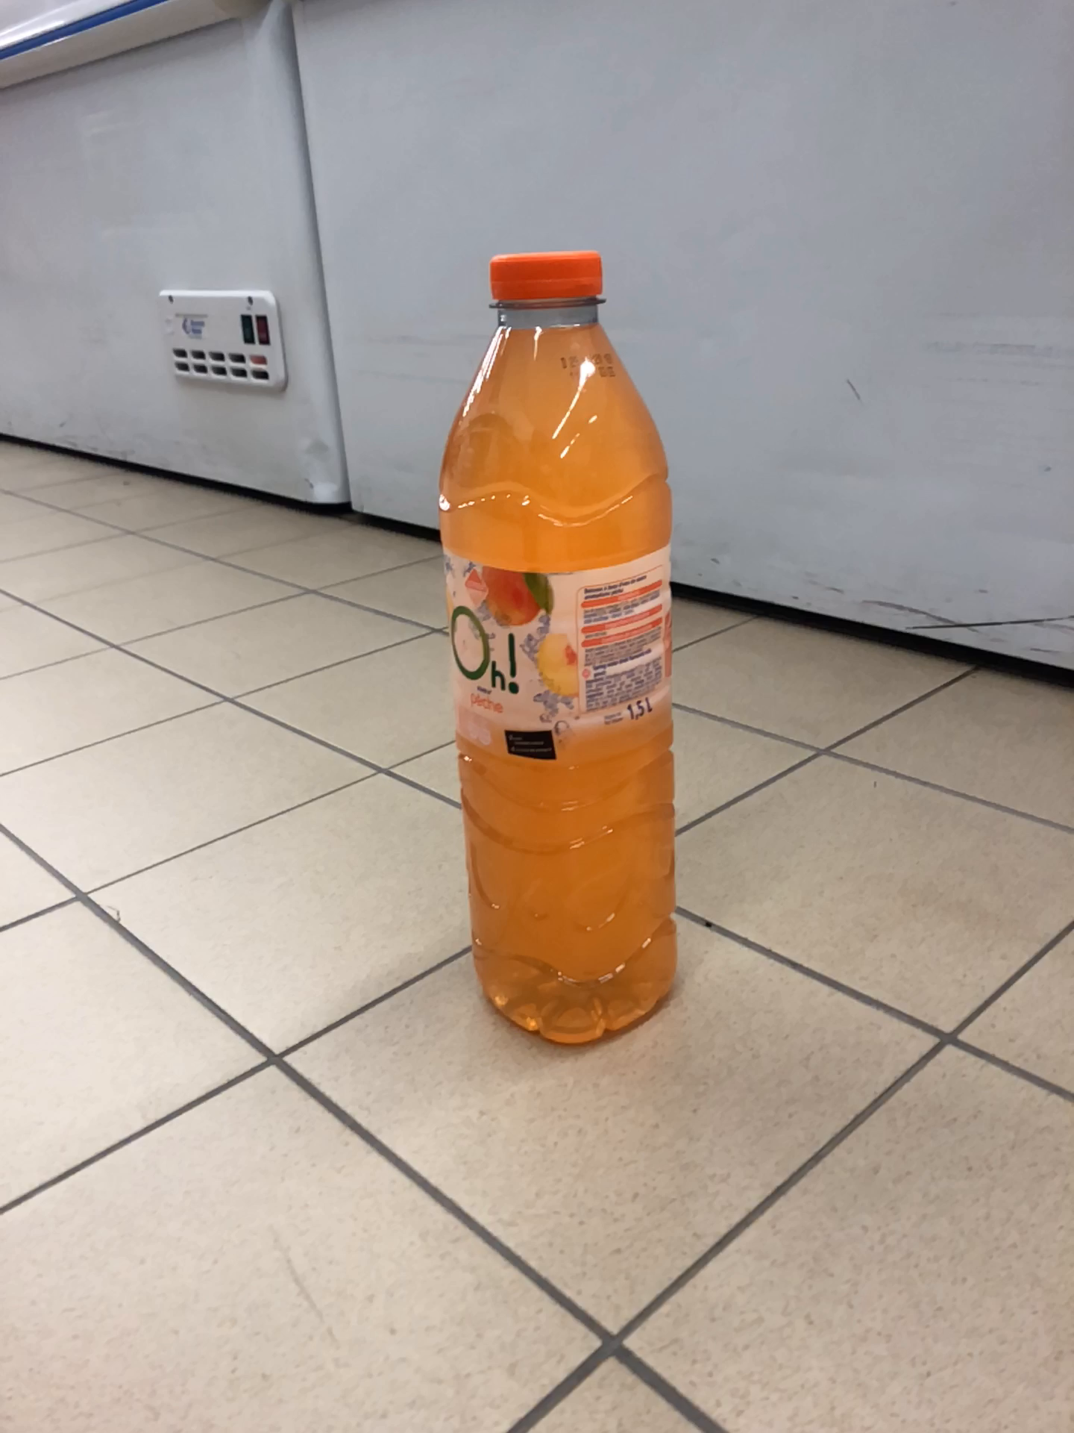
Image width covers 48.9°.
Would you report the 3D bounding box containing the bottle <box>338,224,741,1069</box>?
[{"bbox_3d":[0.008,-0.029,0.468,0.100,0.299,0.100,-3,21,1],"label":"bottle"}]
